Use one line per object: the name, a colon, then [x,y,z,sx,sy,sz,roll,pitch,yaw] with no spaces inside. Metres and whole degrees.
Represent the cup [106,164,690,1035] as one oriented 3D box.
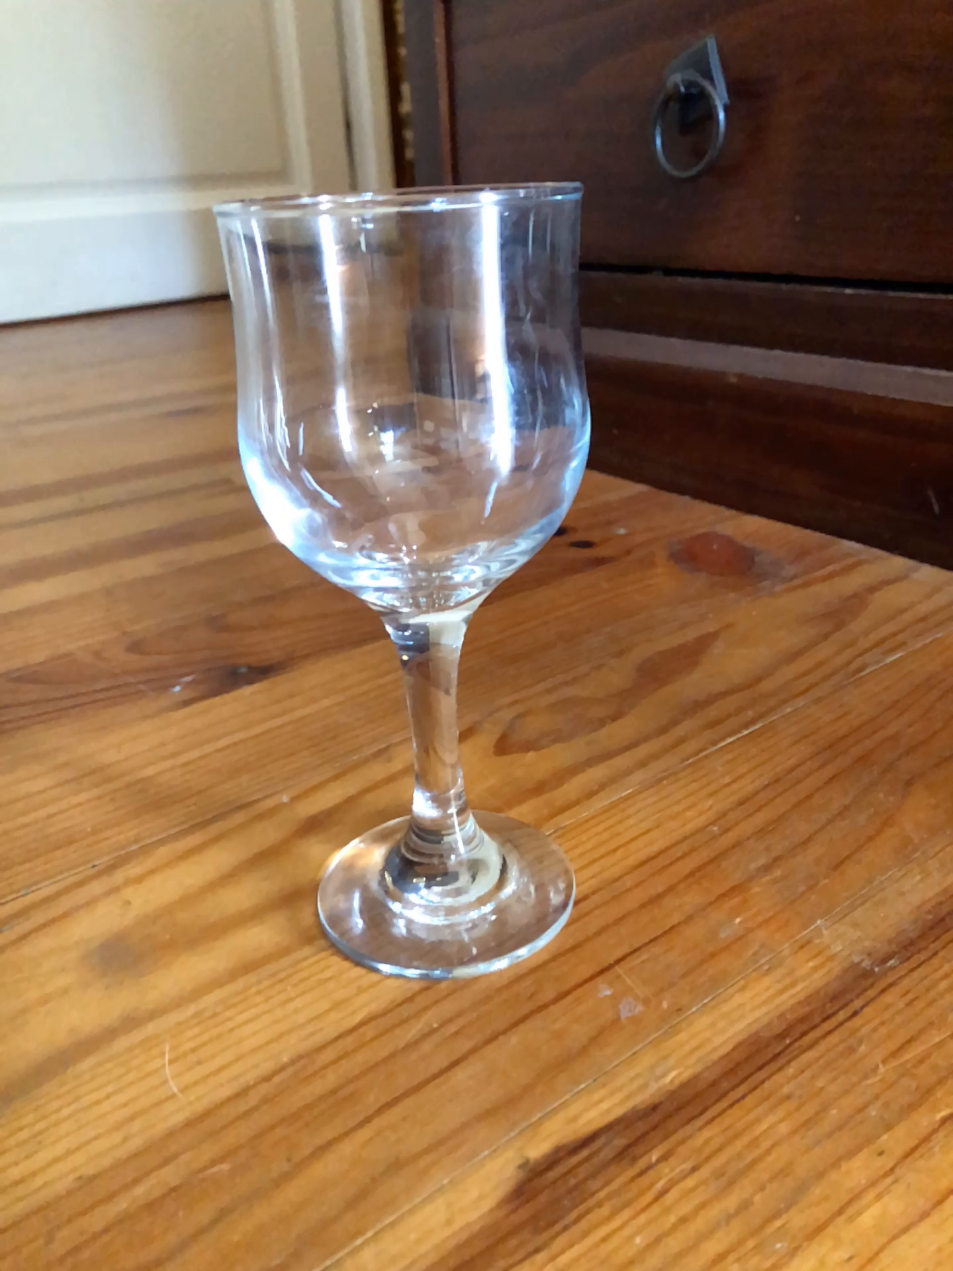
cup: [-0.006,-0.013,0.227,0.082,0.157,0.077,-3,23,1]
